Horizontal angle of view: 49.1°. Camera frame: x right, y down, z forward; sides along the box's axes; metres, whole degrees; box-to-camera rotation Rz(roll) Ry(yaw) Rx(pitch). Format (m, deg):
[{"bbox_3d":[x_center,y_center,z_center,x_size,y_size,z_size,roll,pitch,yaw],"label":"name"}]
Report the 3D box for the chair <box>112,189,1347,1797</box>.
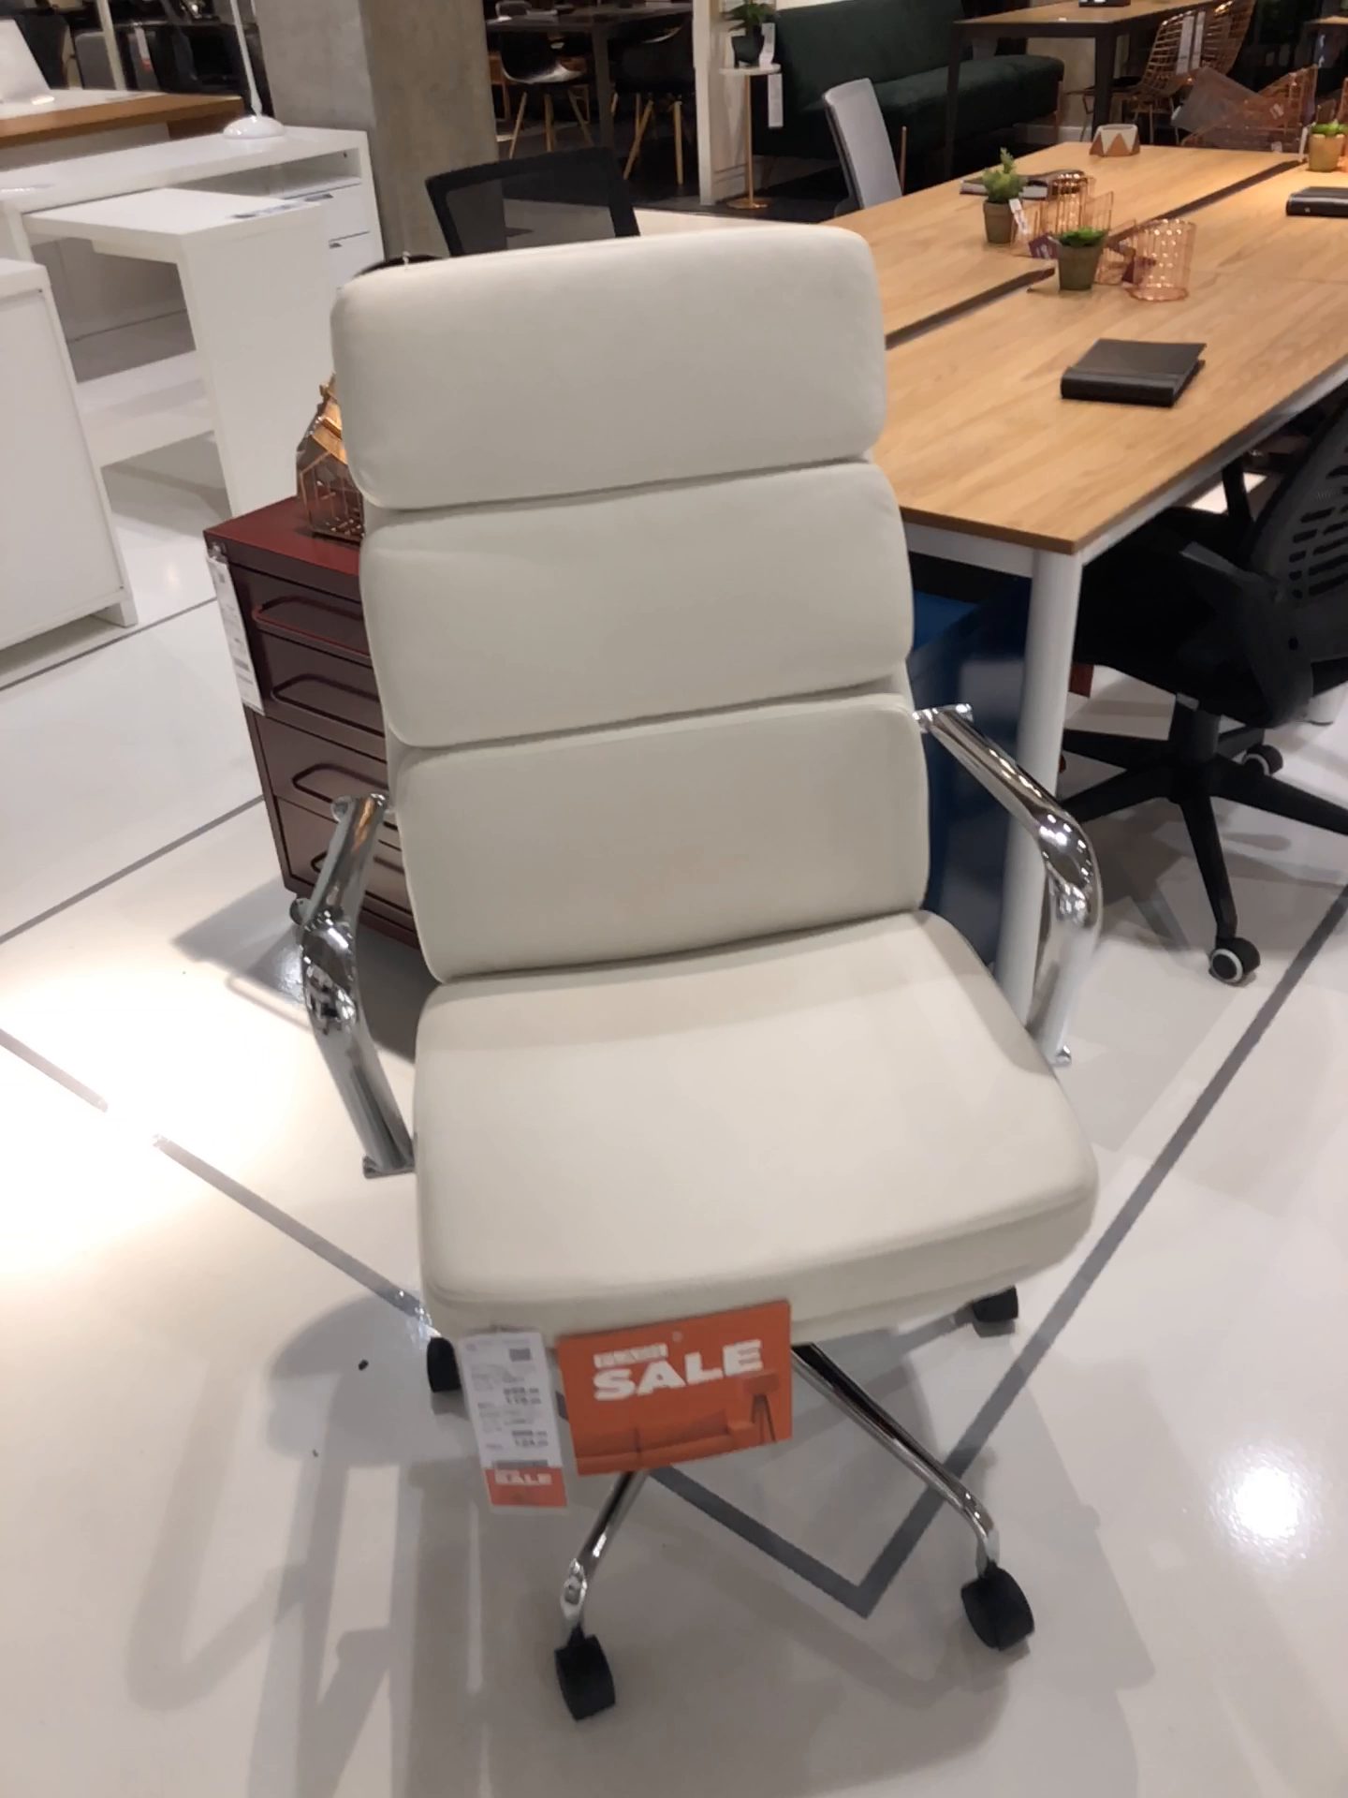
[{"bbox_3d":[0.066,0.062,1.182,0.660,1.013,0.655,-8,34,-7],"label":"chair"}]
